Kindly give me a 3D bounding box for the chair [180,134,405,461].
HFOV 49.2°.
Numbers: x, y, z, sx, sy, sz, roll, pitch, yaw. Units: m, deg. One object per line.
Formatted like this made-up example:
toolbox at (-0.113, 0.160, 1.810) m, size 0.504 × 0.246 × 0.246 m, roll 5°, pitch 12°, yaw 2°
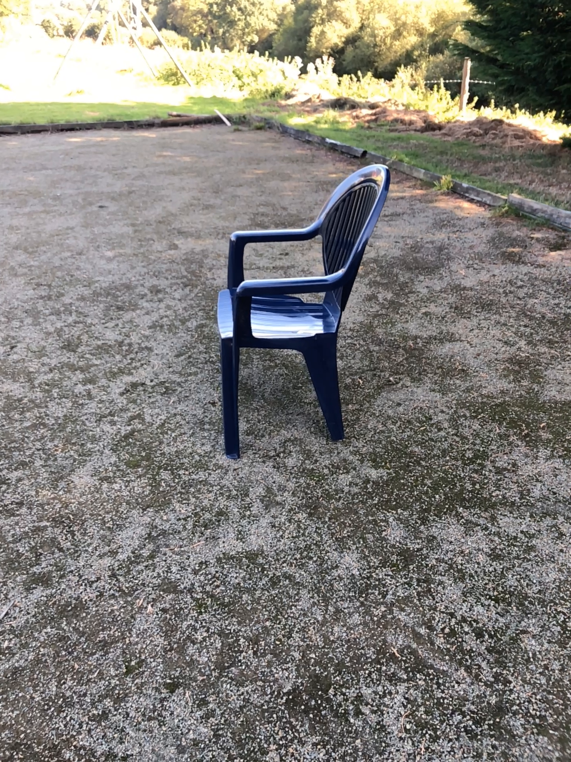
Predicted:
chair at (-0.002, -0.293, 2.025) m, size 0.570 × 0.855 × 0.593 m, roll -5°, pitch 29°, yaw -6°
